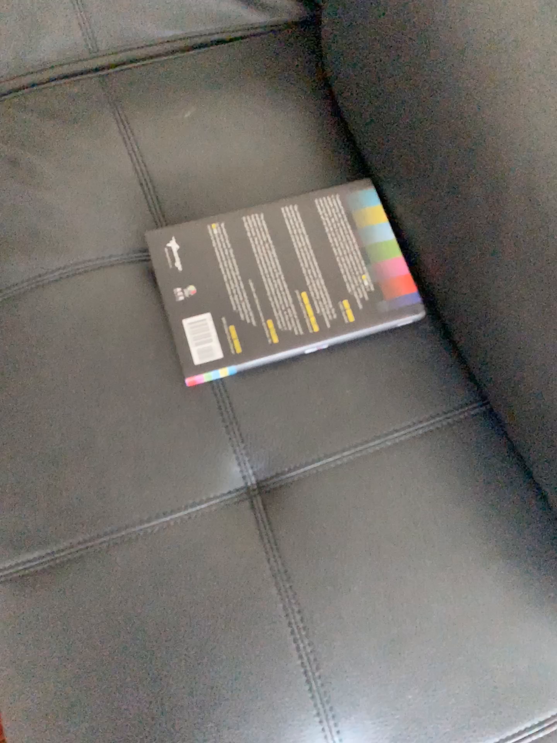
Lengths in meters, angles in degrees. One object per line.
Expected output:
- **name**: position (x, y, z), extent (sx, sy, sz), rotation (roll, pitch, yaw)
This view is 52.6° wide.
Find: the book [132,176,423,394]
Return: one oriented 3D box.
- **book**: position (-0.004, -0.088, 0.541), extent (0.236, 0.030, 0.160), rotation (-15, 73, -8)
